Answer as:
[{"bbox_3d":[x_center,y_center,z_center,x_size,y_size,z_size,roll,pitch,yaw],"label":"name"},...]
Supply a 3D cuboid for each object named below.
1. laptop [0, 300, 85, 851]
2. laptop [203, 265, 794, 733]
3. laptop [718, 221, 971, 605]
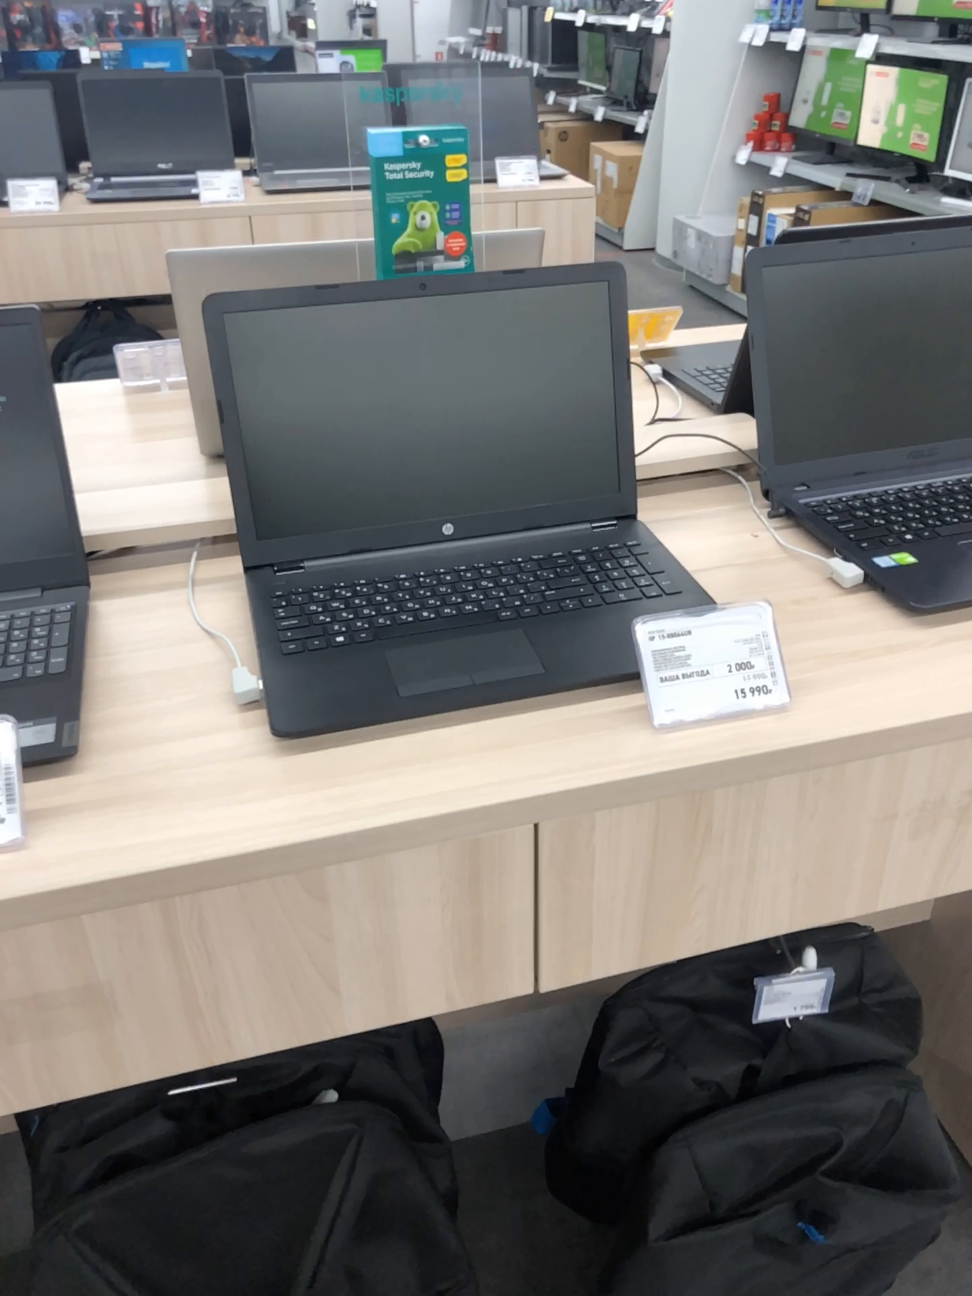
[{"bbox_3d":[-0.492,-0.083,0.758,0.331,0.213,0.329,-9,33,-14],"label":"laptop"},{"bbox_3d":[-0.013,-0.144,0.846,0.367,0.216,0.313,-10,33,-13],"label":"laptop"},{"bbox_3d":[0.479,-0.241,0.987,0.369,0.209,0.335,-10,34,-15],"label":"laptop"}]
